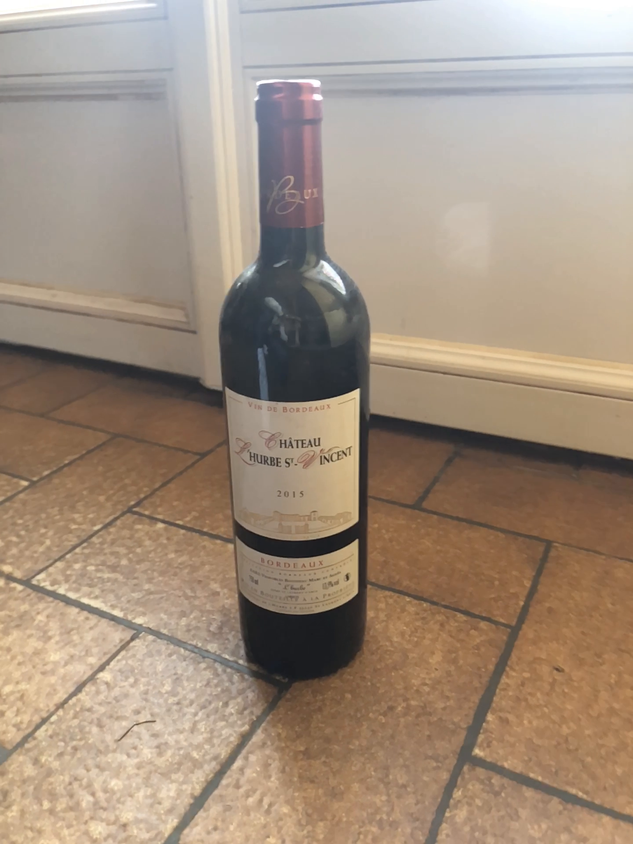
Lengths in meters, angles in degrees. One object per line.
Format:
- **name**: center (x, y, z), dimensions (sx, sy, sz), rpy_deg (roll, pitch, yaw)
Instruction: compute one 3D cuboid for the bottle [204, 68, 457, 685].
- **bottle**: center (0.009, -0.012, 0.350), dimensions (0.090, 0.288, 0.090), rpy_deg (-1, 24, 0)
